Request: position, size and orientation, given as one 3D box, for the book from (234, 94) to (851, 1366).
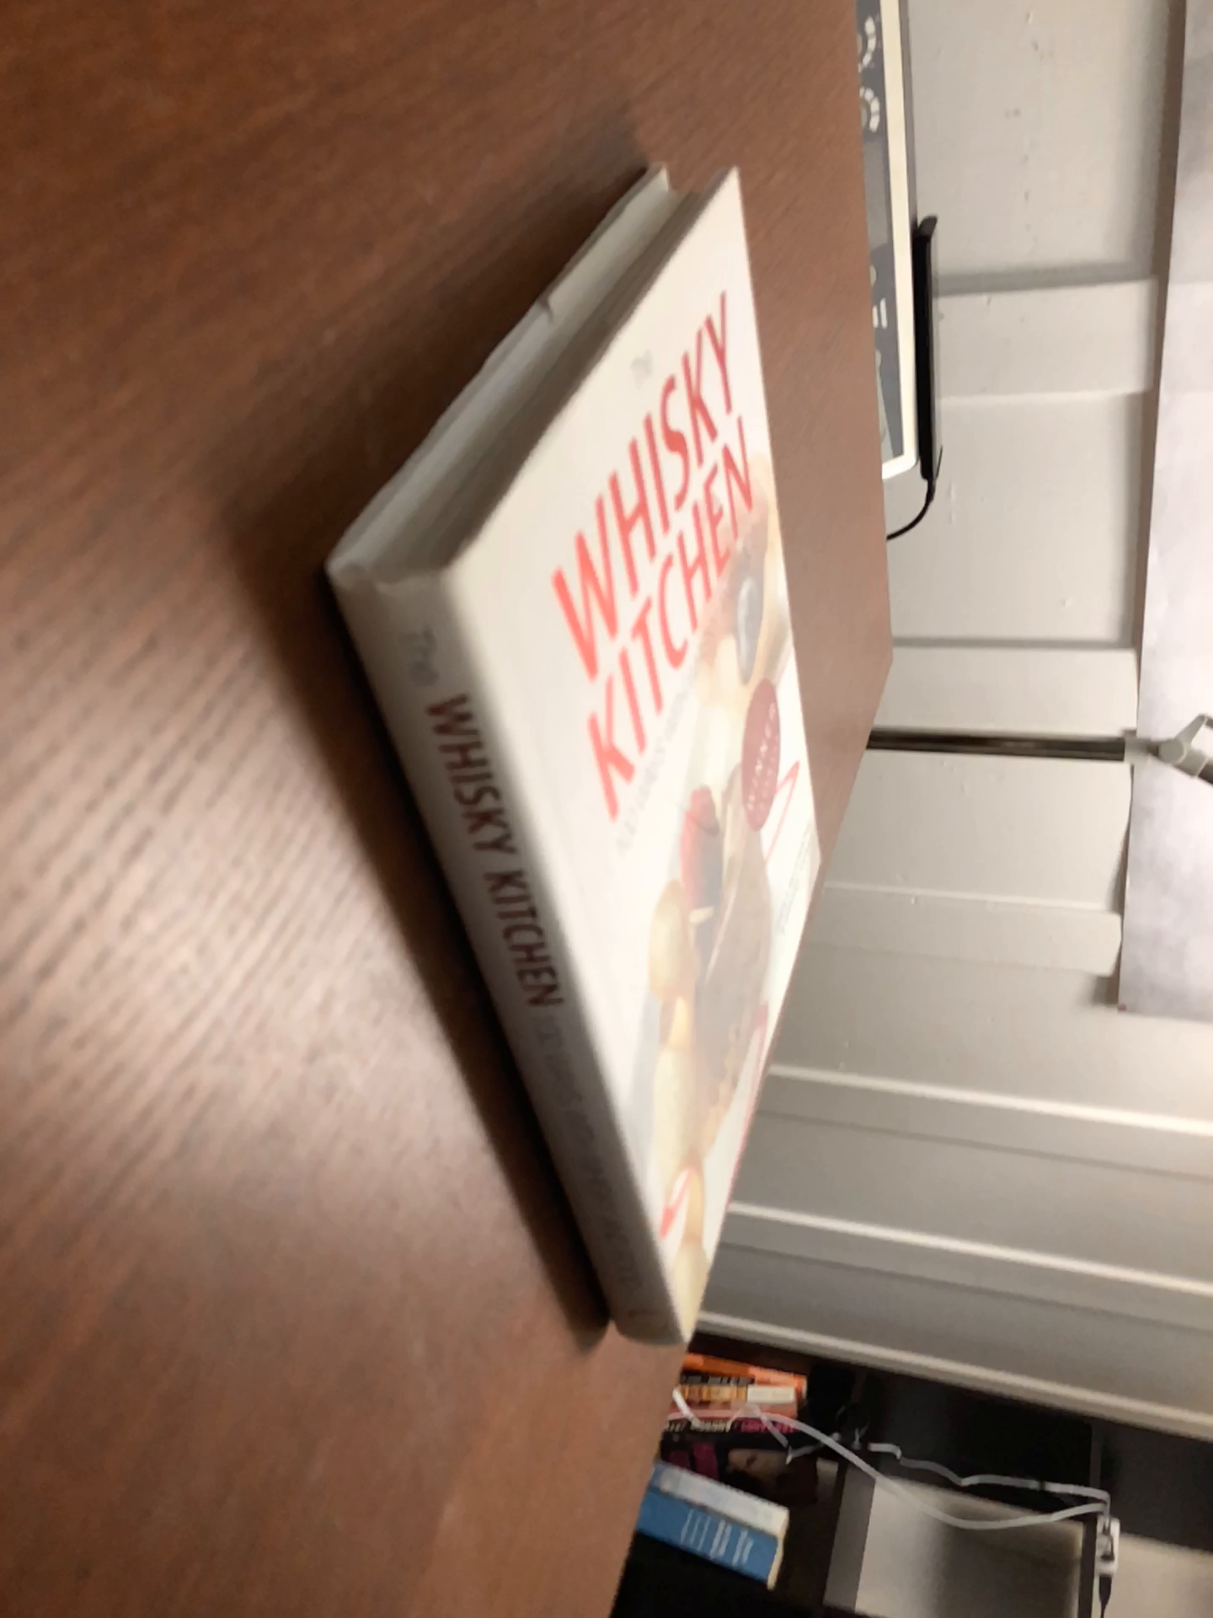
[{"bbox_3d":[0.018,-0.018,0.370,0.221,0.040,0.270,-65,151,-43],"label":"book"}]
